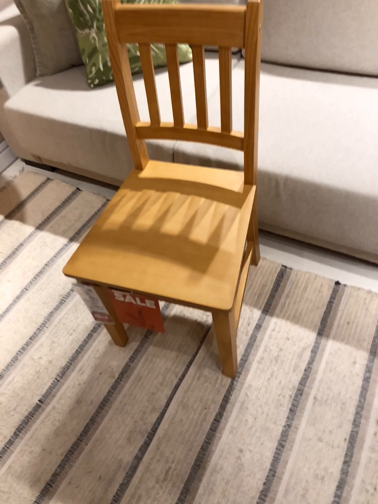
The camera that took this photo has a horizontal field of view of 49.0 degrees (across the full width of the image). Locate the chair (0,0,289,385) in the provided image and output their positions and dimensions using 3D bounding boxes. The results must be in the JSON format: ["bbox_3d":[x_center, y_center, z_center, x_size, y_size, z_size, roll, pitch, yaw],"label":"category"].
[{"bbox_3d":[-0.044,-0.109,1.081,0.460,0.816,0.523,10,54,16],"label":"chair"}]
